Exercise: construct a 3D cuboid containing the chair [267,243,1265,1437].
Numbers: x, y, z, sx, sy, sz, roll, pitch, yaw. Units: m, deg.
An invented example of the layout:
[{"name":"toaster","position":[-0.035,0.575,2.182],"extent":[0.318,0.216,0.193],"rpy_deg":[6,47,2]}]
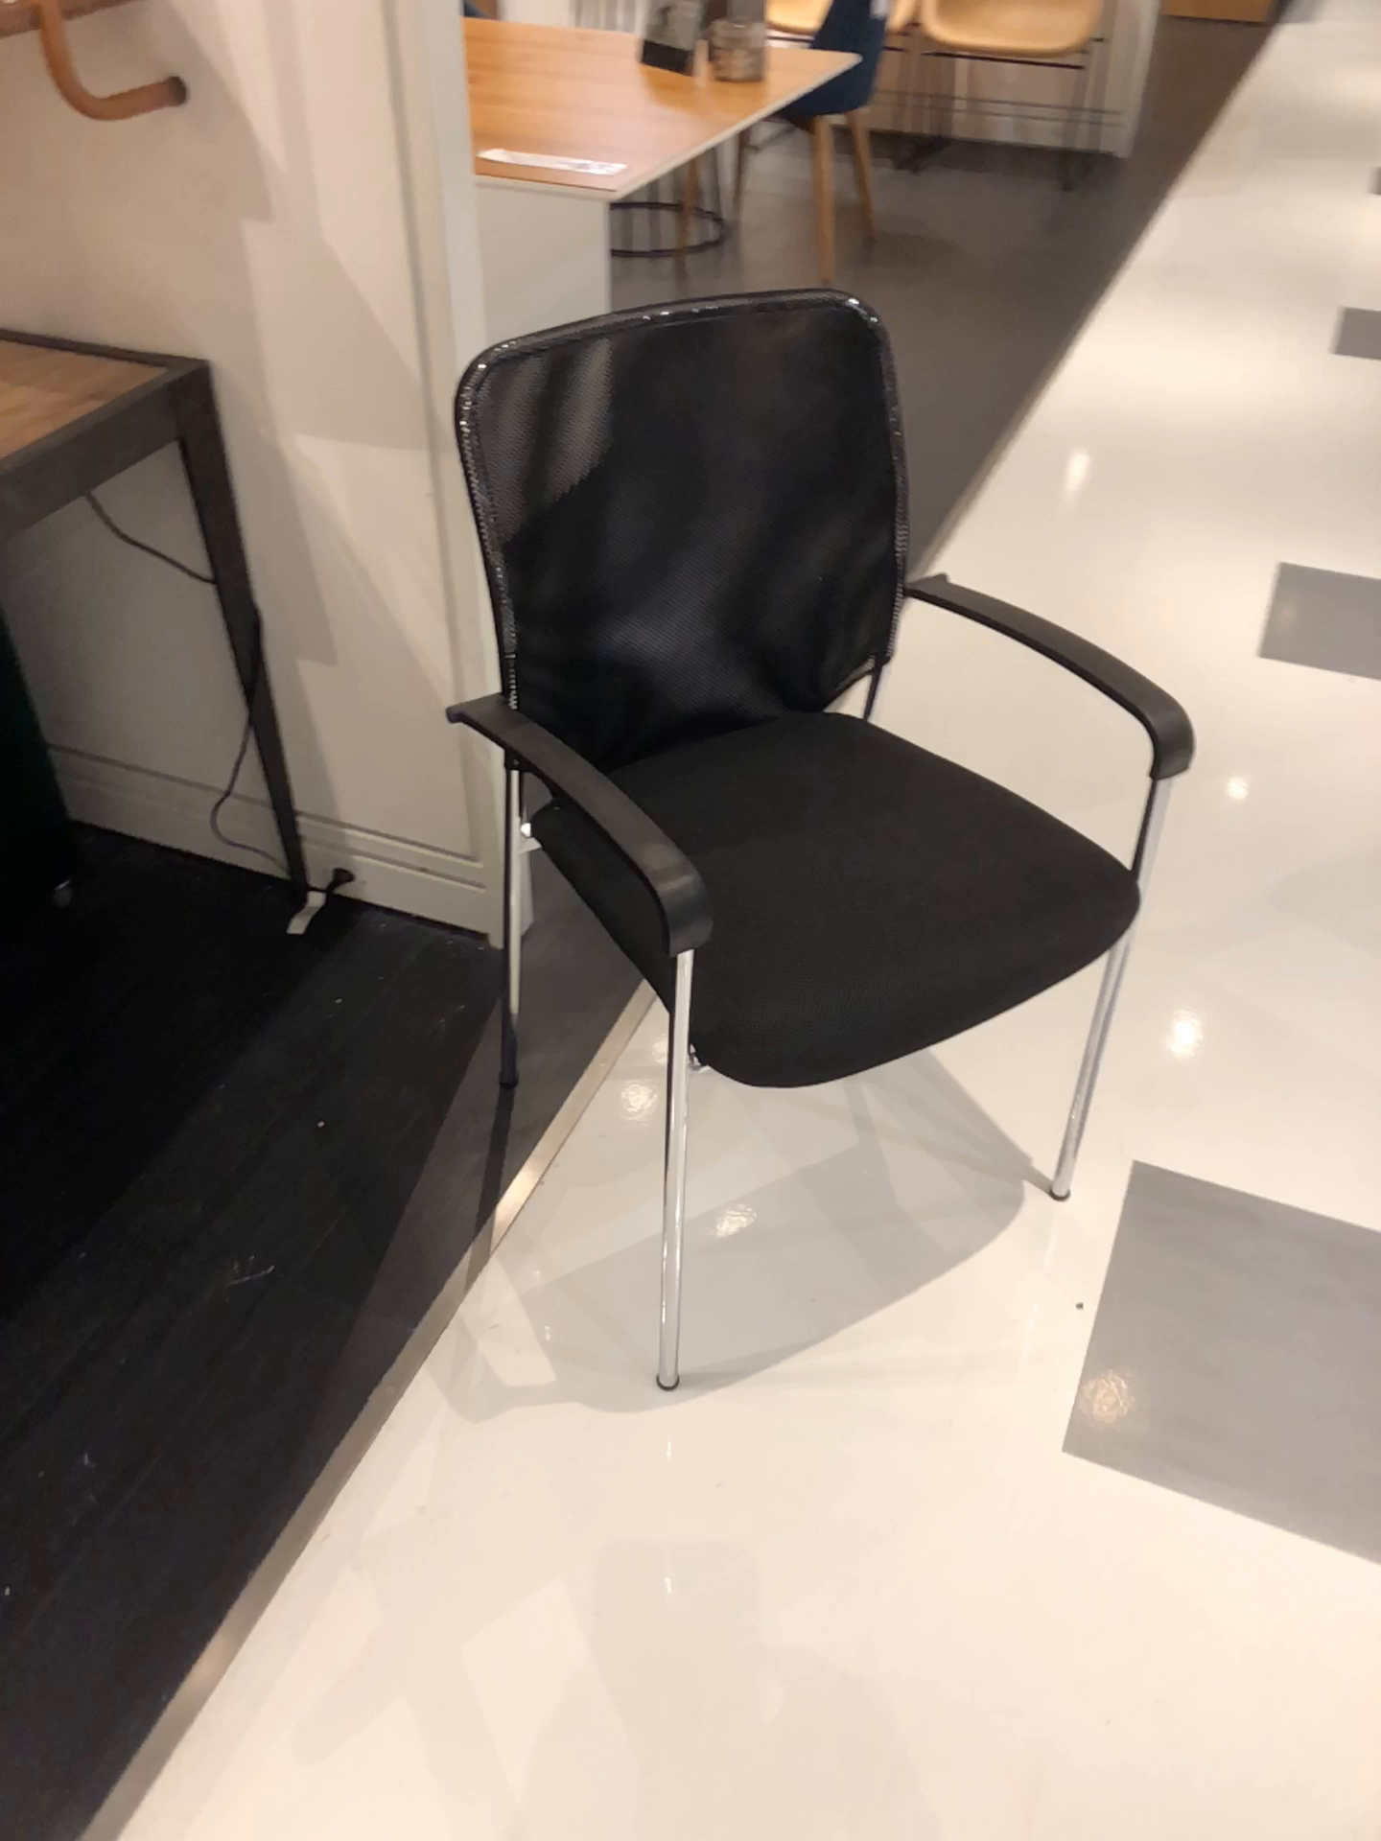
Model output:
[{"name":"chair","position":[0.039,-0.084,1.444],"extent":[0.591,0.863,0.513],"rpy_deg":[-20,43,-23]}]
